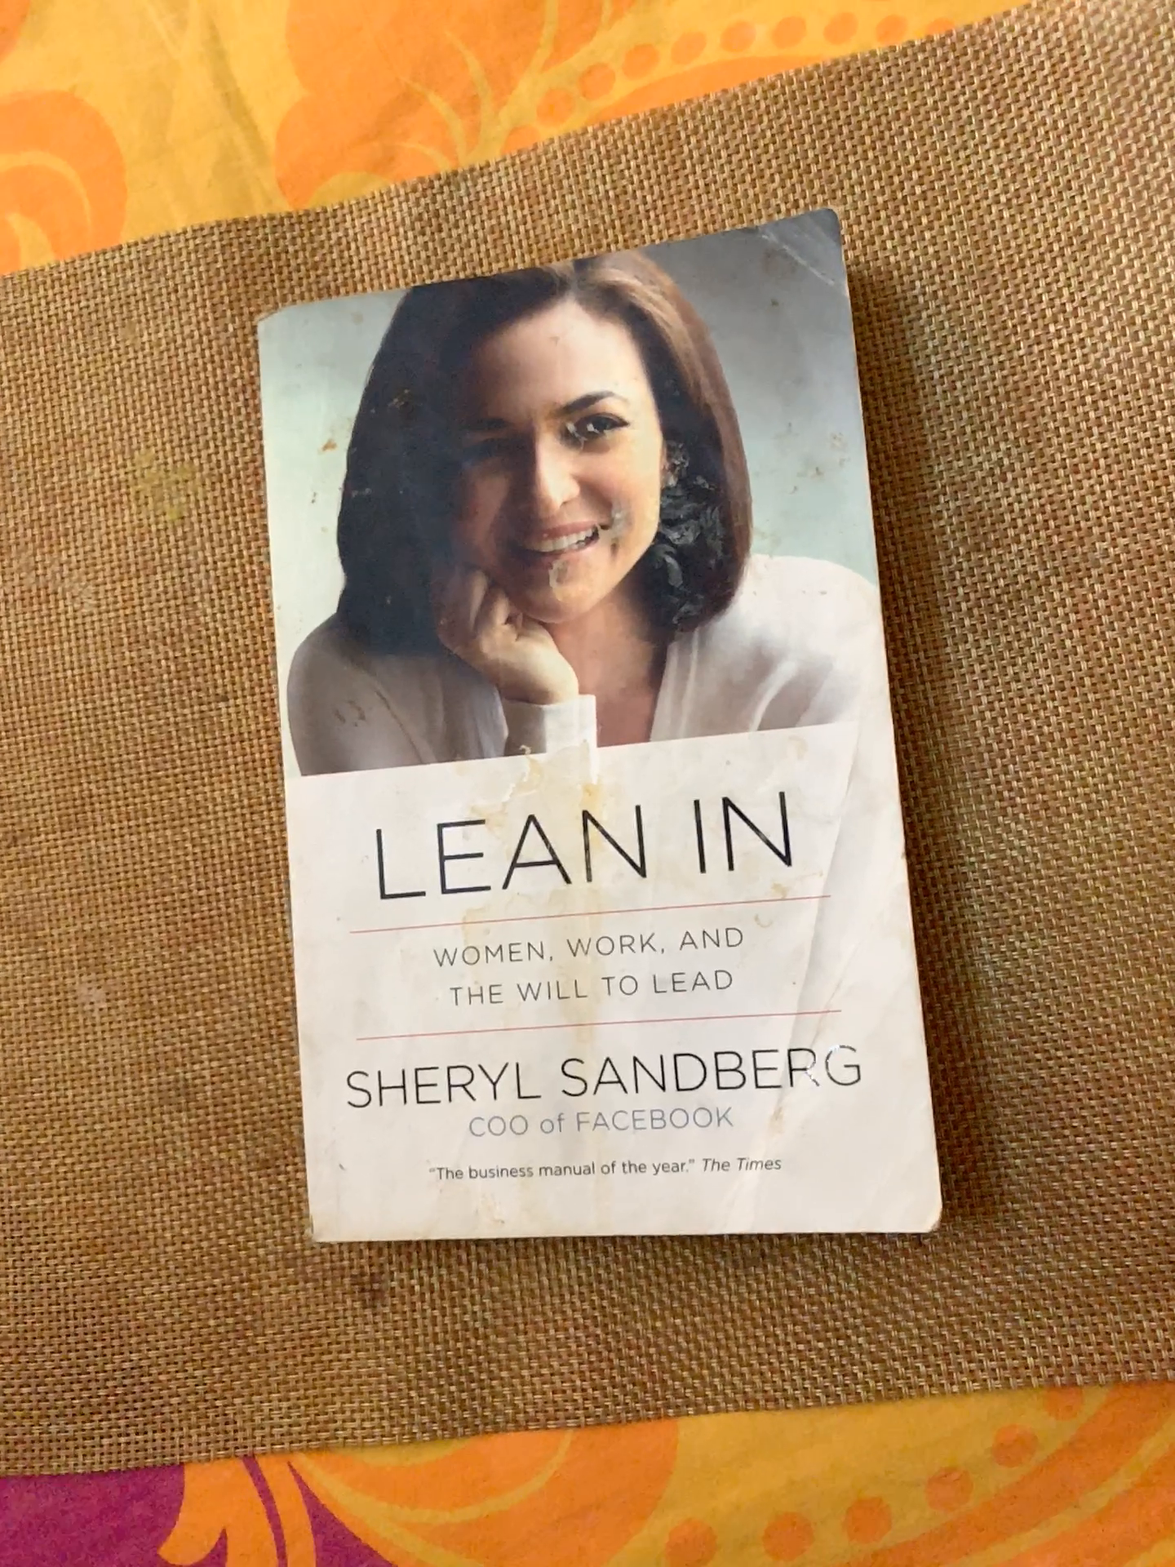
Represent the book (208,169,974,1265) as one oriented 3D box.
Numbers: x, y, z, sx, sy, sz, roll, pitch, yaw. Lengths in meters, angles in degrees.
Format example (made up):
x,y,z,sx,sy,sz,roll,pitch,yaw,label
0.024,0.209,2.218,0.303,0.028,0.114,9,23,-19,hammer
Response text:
x,y,z,sx,sy,sz,roll,pitch,yaw,label
-0.005,-0.012,0.266,0.141,0.026,0.212,-8,83,12,book
